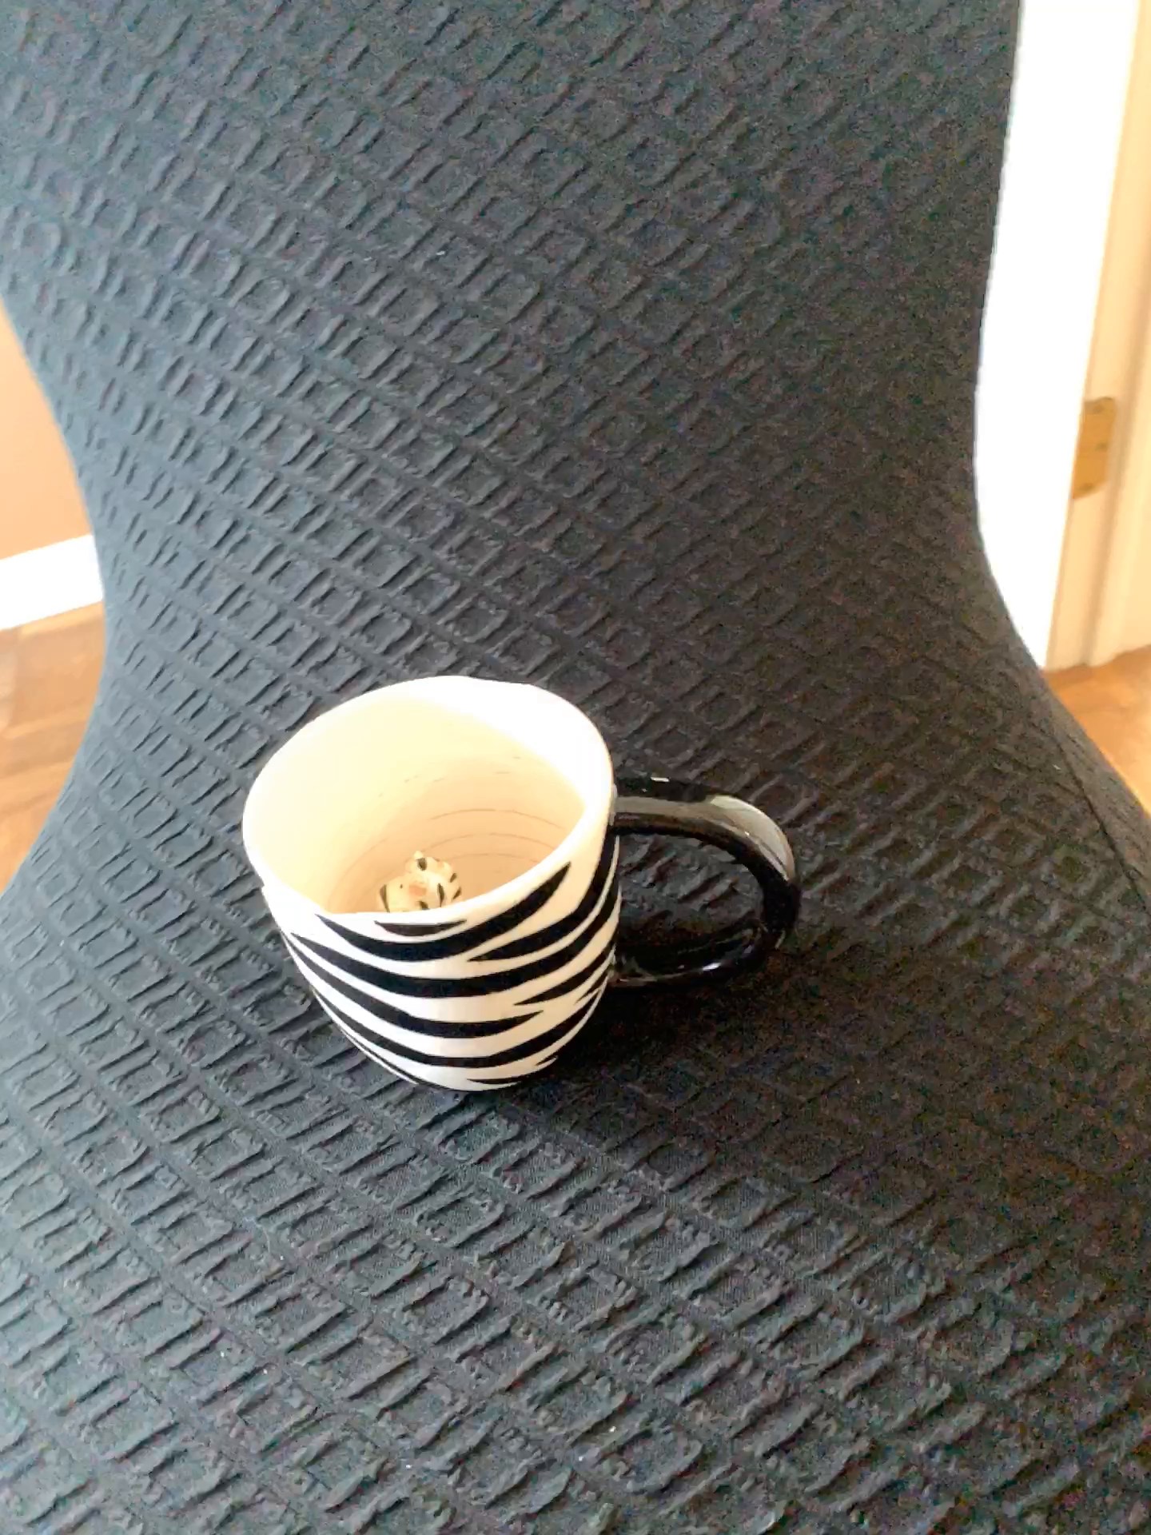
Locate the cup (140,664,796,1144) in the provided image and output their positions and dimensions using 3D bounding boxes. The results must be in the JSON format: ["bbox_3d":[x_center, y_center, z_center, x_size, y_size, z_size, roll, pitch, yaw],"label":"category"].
[{"bbox_3d":[-0.017,0.033,0.313,0.140,0.090,0.080,1,46,15],"label":"cup"}]
